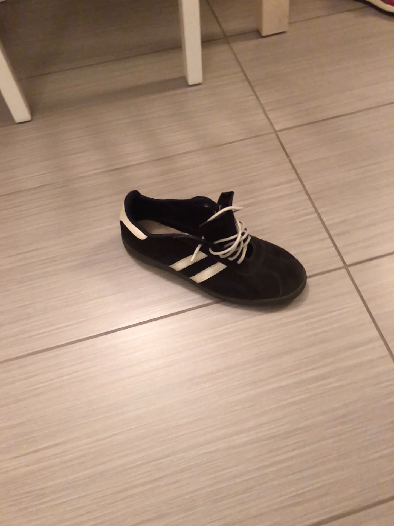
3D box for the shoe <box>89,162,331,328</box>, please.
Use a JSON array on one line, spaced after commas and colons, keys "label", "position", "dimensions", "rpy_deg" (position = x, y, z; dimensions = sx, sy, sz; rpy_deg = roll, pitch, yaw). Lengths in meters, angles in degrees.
[{"label": "shoe", "position": [0.017, -0.029, 0.640], "dimensions": [0.310, 0.120, 0.110], "rpy_deg": [19, 63, 13]}]
